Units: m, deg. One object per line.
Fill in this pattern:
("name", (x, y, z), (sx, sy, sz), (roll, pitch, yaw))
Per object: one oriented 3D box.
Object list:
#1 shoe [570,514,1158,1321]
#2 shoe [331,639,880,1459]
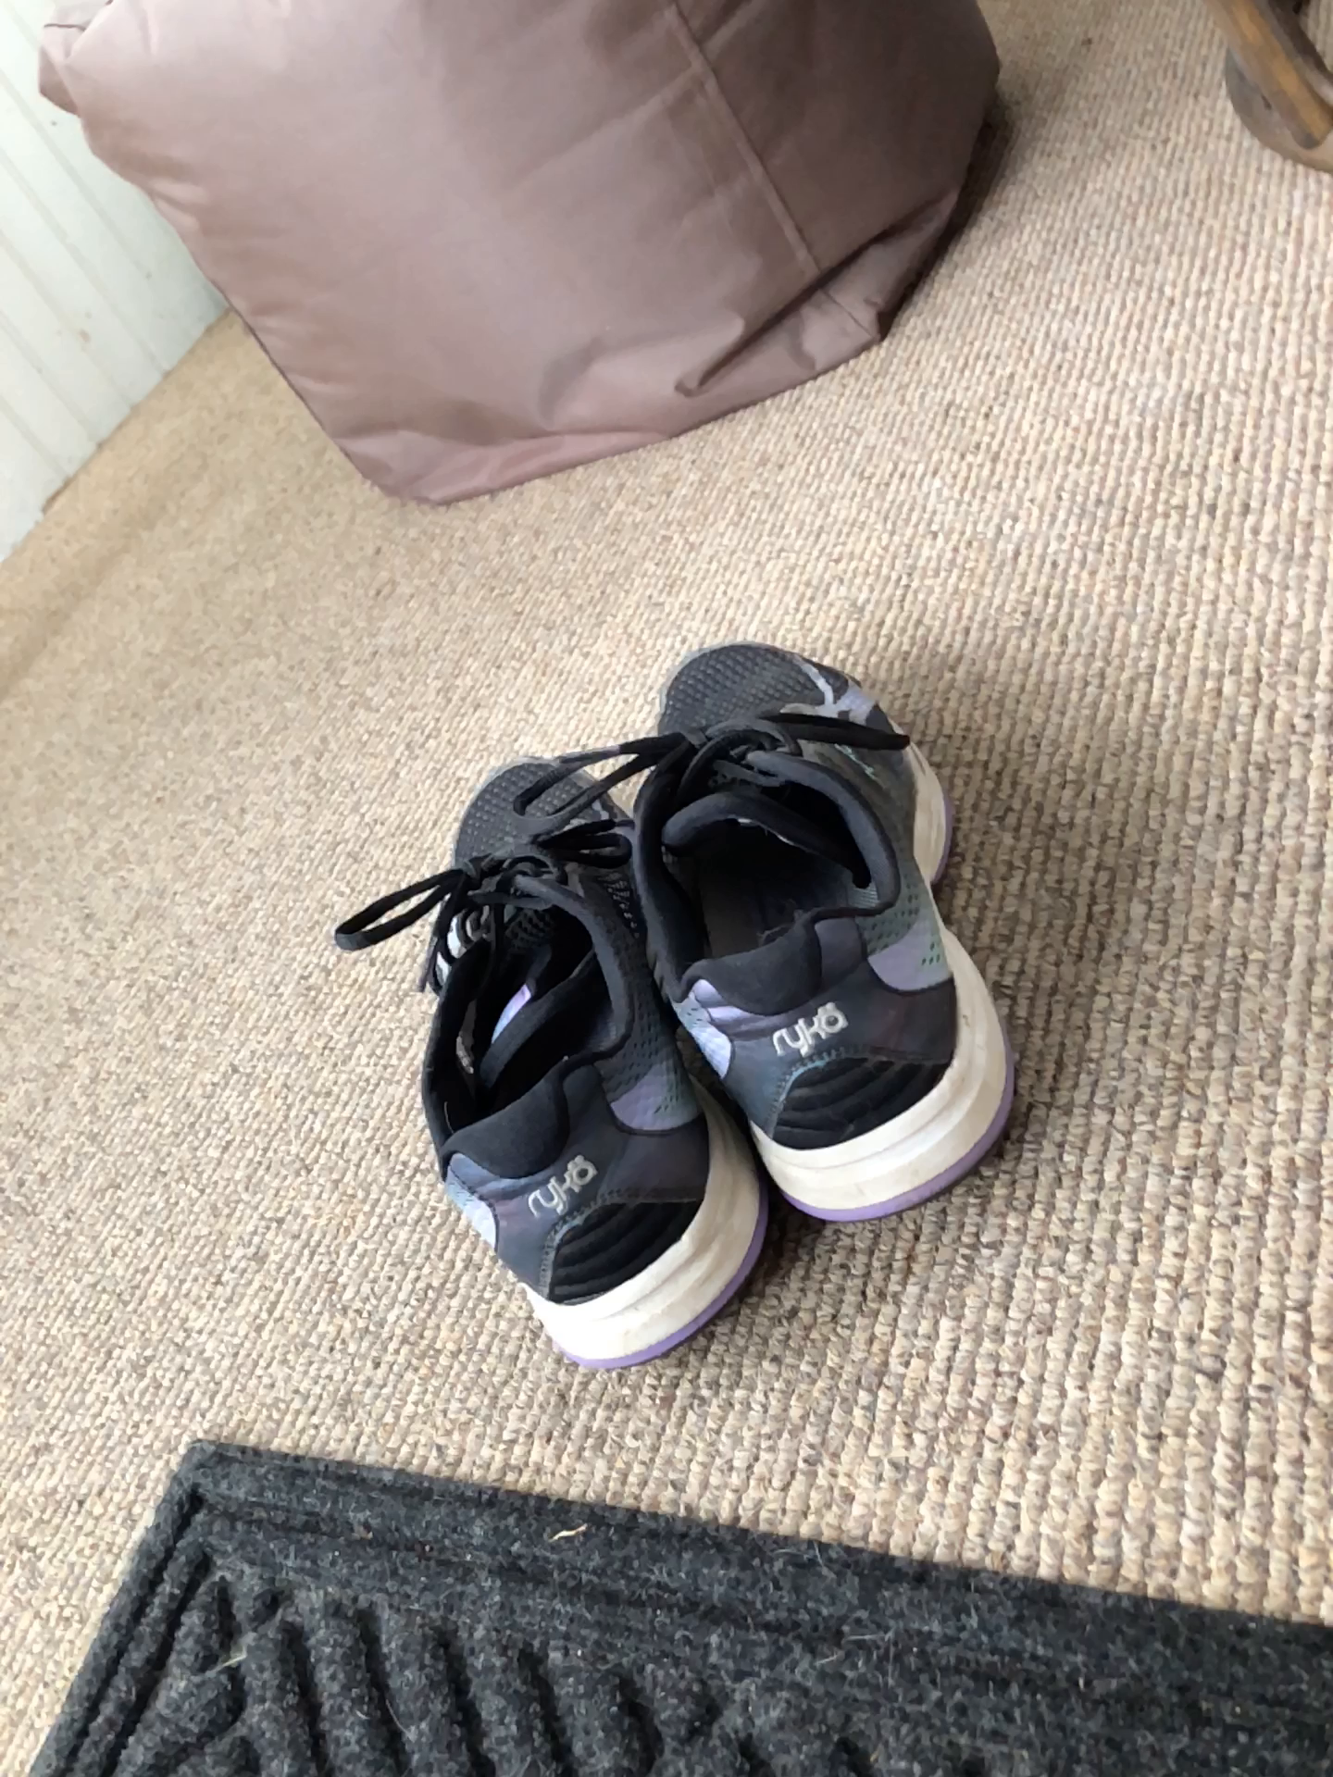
("shoe", (0.050, -0.008, 0.495), (0.102, 0.103, 0.258), (-27, 37, 10))
("shoe", (-0.036, 0.037, 0.508), (0.110, 0.103, 0.258), (-29, 37, 7))
